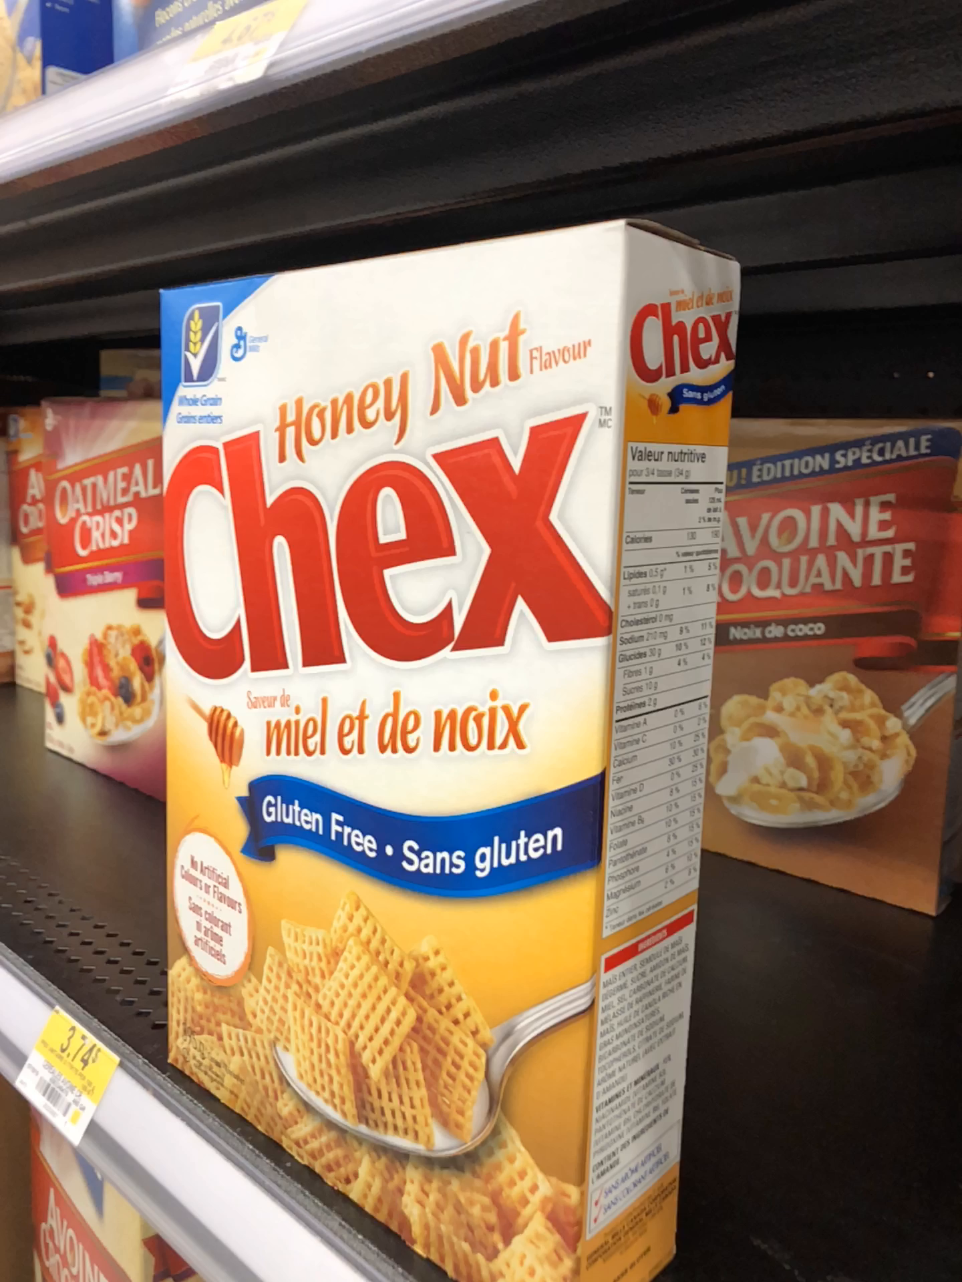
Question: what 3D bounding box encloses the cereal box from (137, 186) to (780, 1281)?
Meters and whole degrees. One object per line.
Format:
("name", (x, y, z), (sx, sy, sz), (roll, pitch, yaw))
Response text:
("cereal box", (-0.028, 0.027, 0.327), (0.210, 0.279, 0.050), (11, 12, 42))
